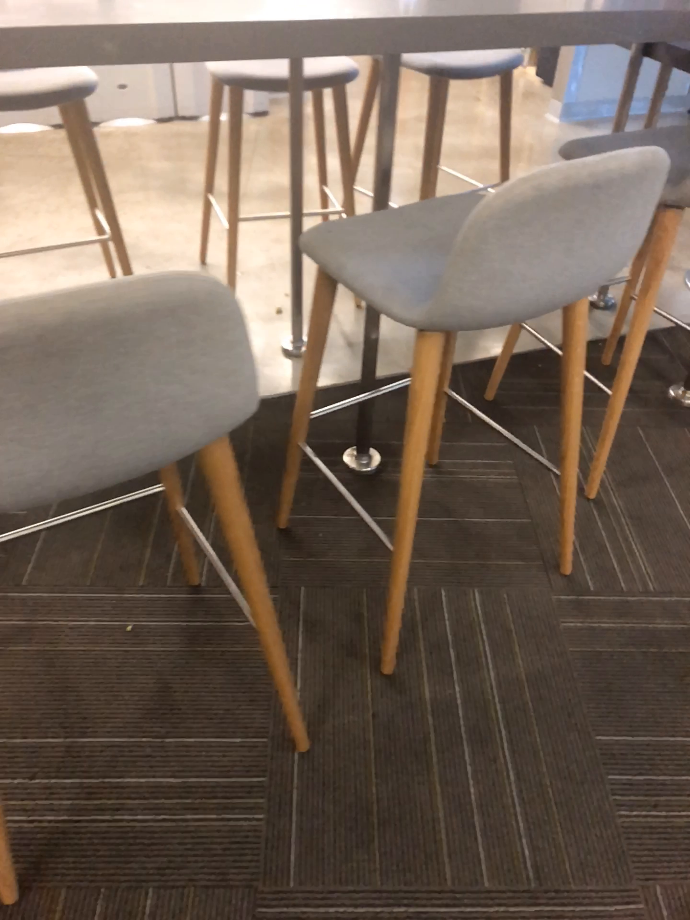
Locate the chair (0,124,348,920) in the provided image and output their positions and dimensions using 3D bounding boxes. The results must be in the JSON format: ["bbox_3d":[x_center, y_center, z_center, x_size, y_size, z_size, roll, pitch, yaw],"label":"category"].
[{"bbox_3d":[-0.397,0.107,1.114,0.572,0.942,0.543,-20,44,-25],"label":"chair"}]

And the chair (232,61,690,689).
[{"bbox_3d":[0.187,-0.167,1.456,0.572,0.942,0.543,-20,44,-25],"label":"chair"}]

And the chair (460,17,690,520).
[{"bbox_3d":[0.734,-0.475,1.918,0.542,1.031,0.543,-16,42,-22],"label":"chair"}]
